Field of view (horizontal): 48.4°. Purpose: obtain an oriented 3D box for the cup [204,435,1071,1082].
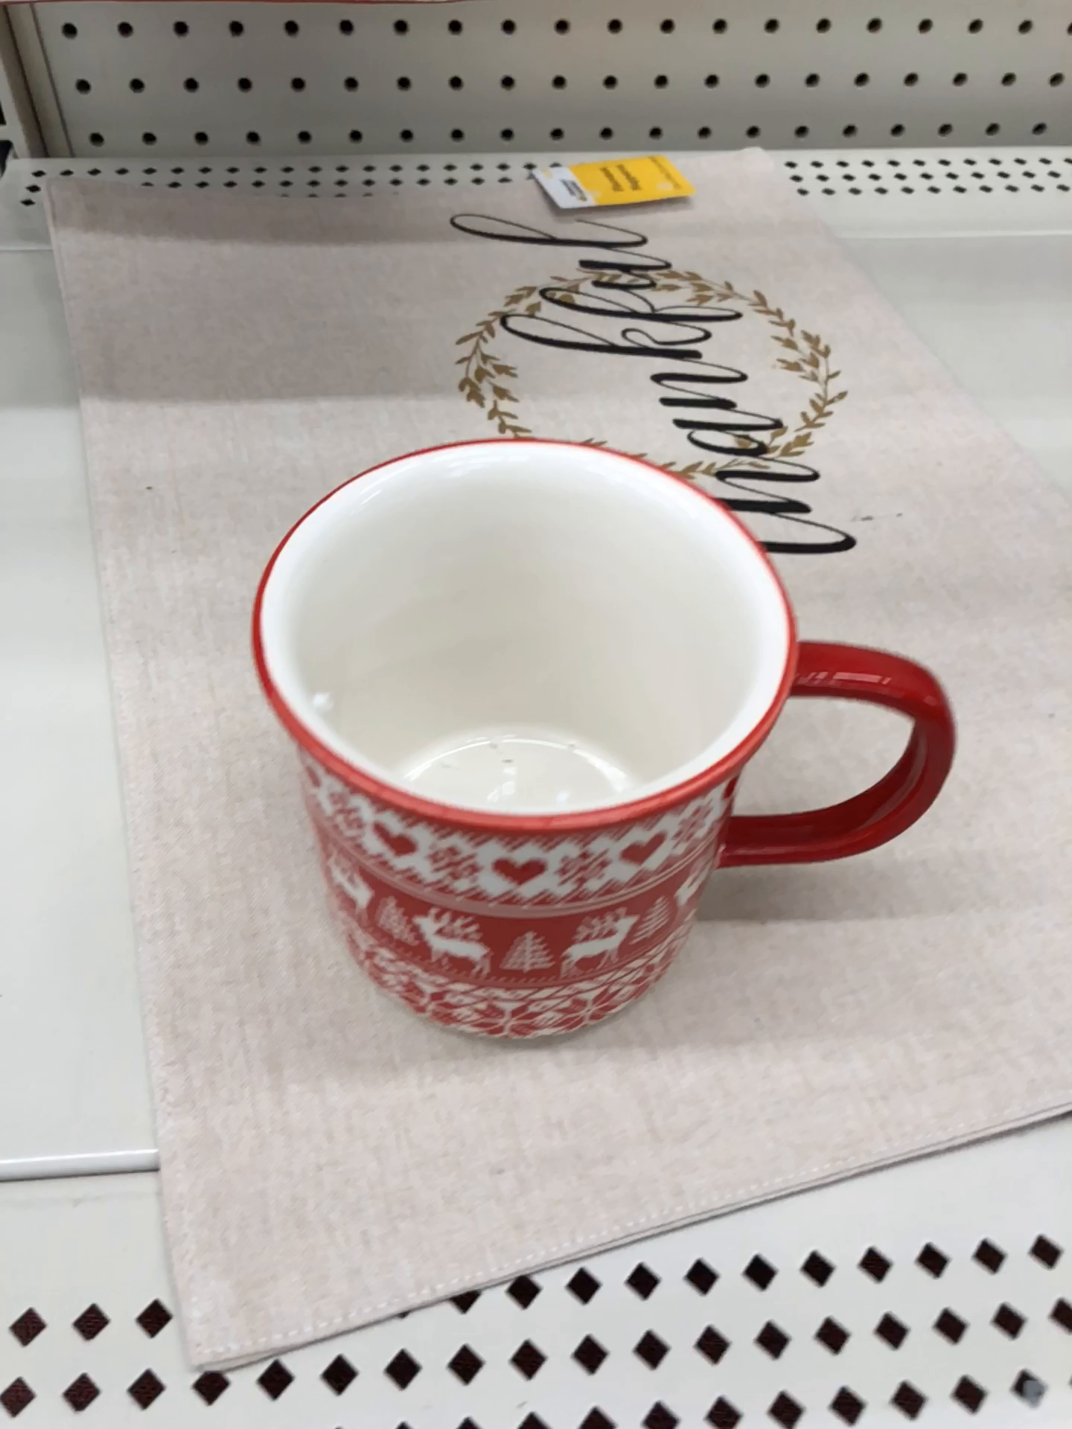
[{"bbox_3d":[0.015,0.011,0.270,0.150,0.100,0.100,-2,51,-4],"label":"cup"}]
